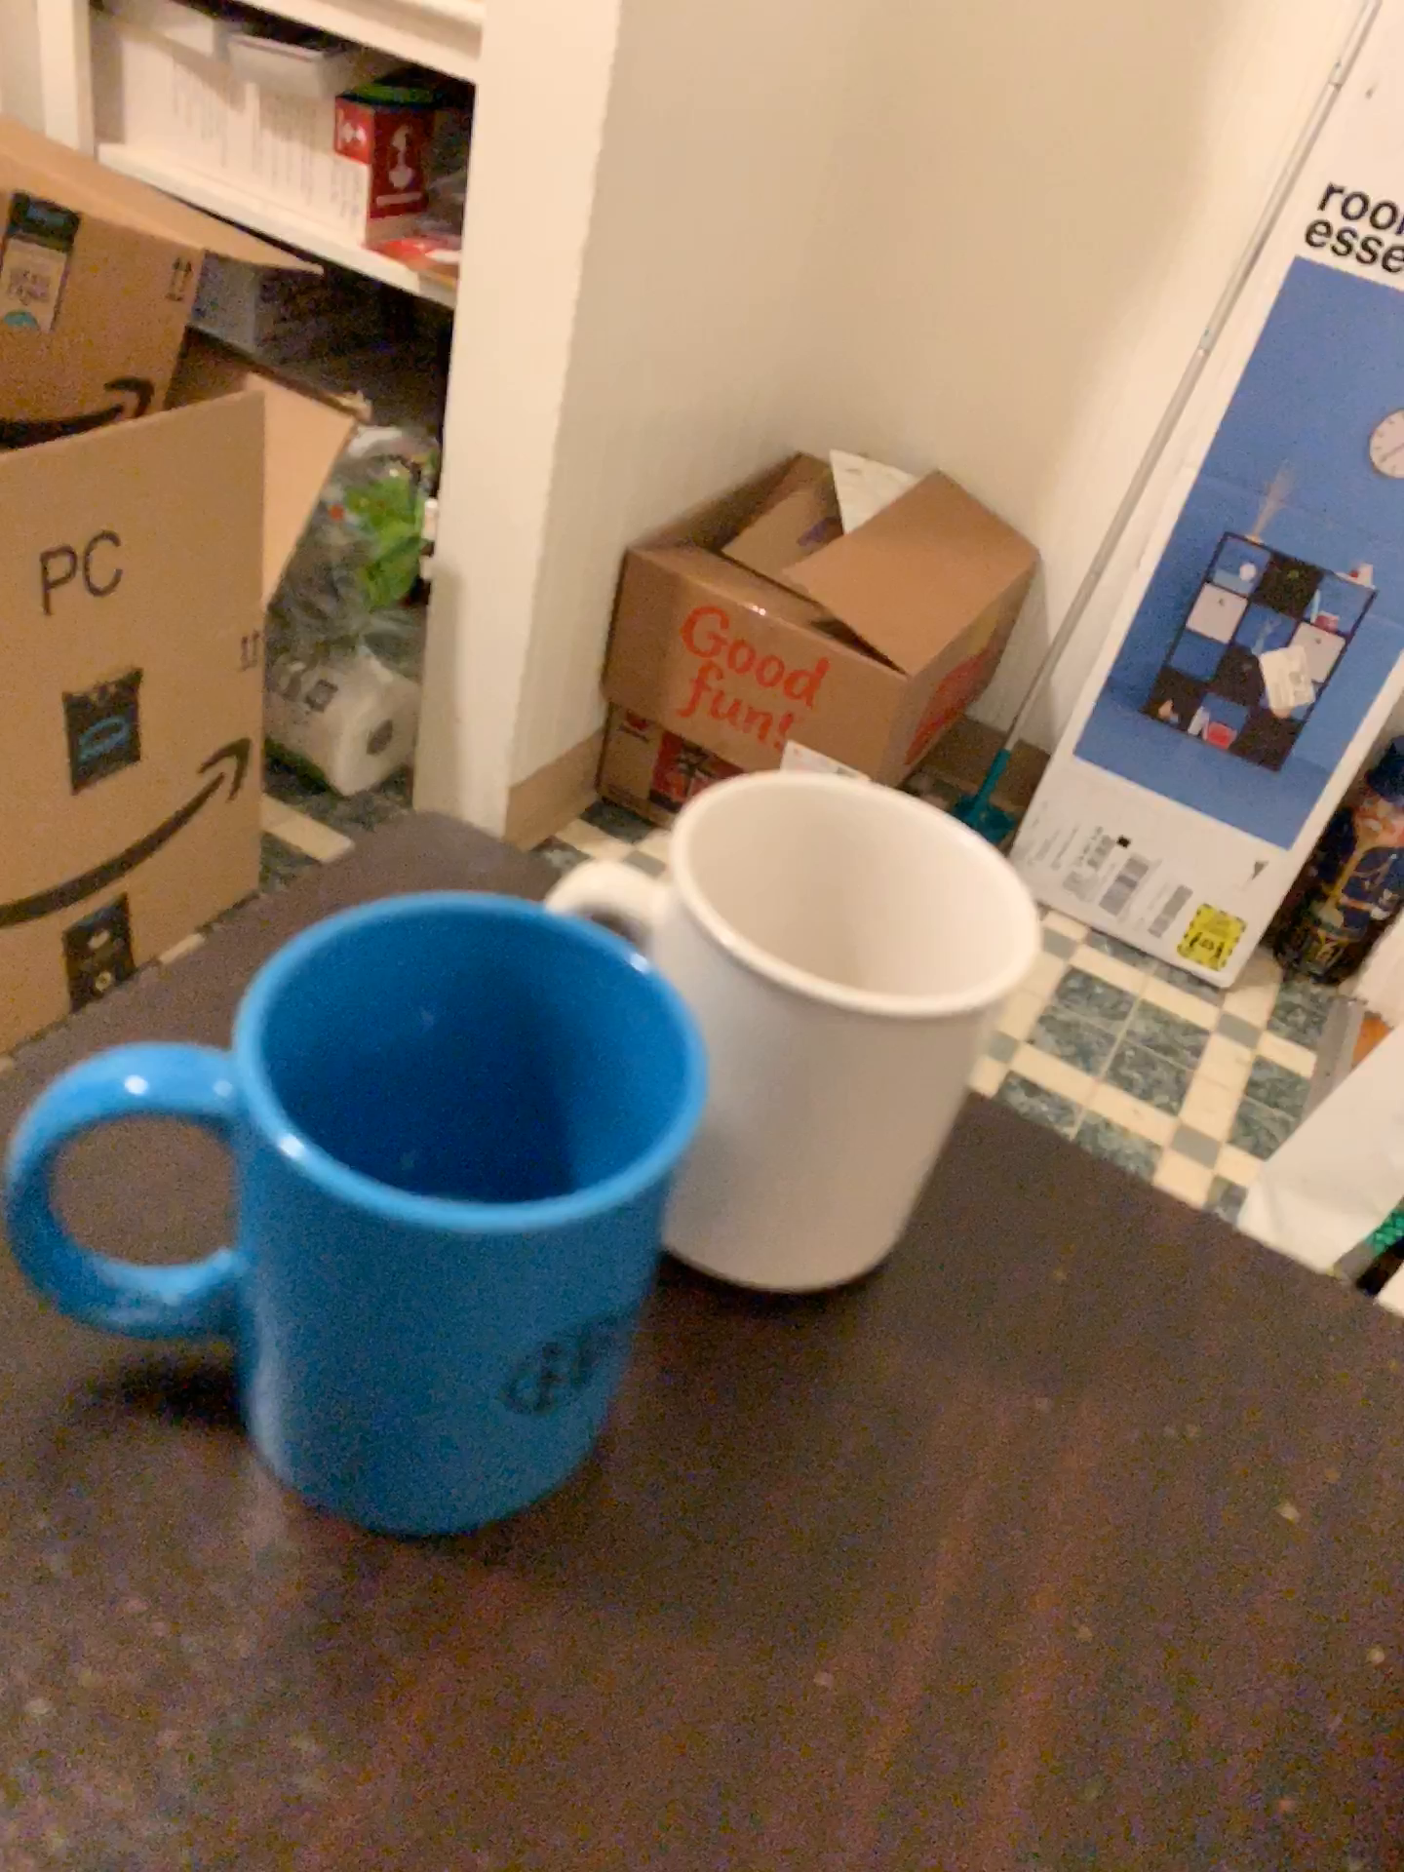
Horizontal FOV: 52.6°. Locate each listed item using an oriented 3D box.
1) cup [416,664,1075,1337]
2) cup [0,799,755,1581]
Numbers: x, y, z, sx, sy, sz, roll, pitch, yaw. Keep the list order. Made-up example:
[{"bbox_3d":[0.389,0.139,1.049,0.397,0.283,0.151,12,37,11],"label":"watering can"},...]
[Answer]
[{"bbox_3d":[0.010,0.013,0.328,0.120,0.089,0.091,16,38,1],"label":"cup"},{"bbox_3d":[-0.073,0.050,0.268,0.140,0.099,0.091,7,39,-10],"label":"cup"}]
